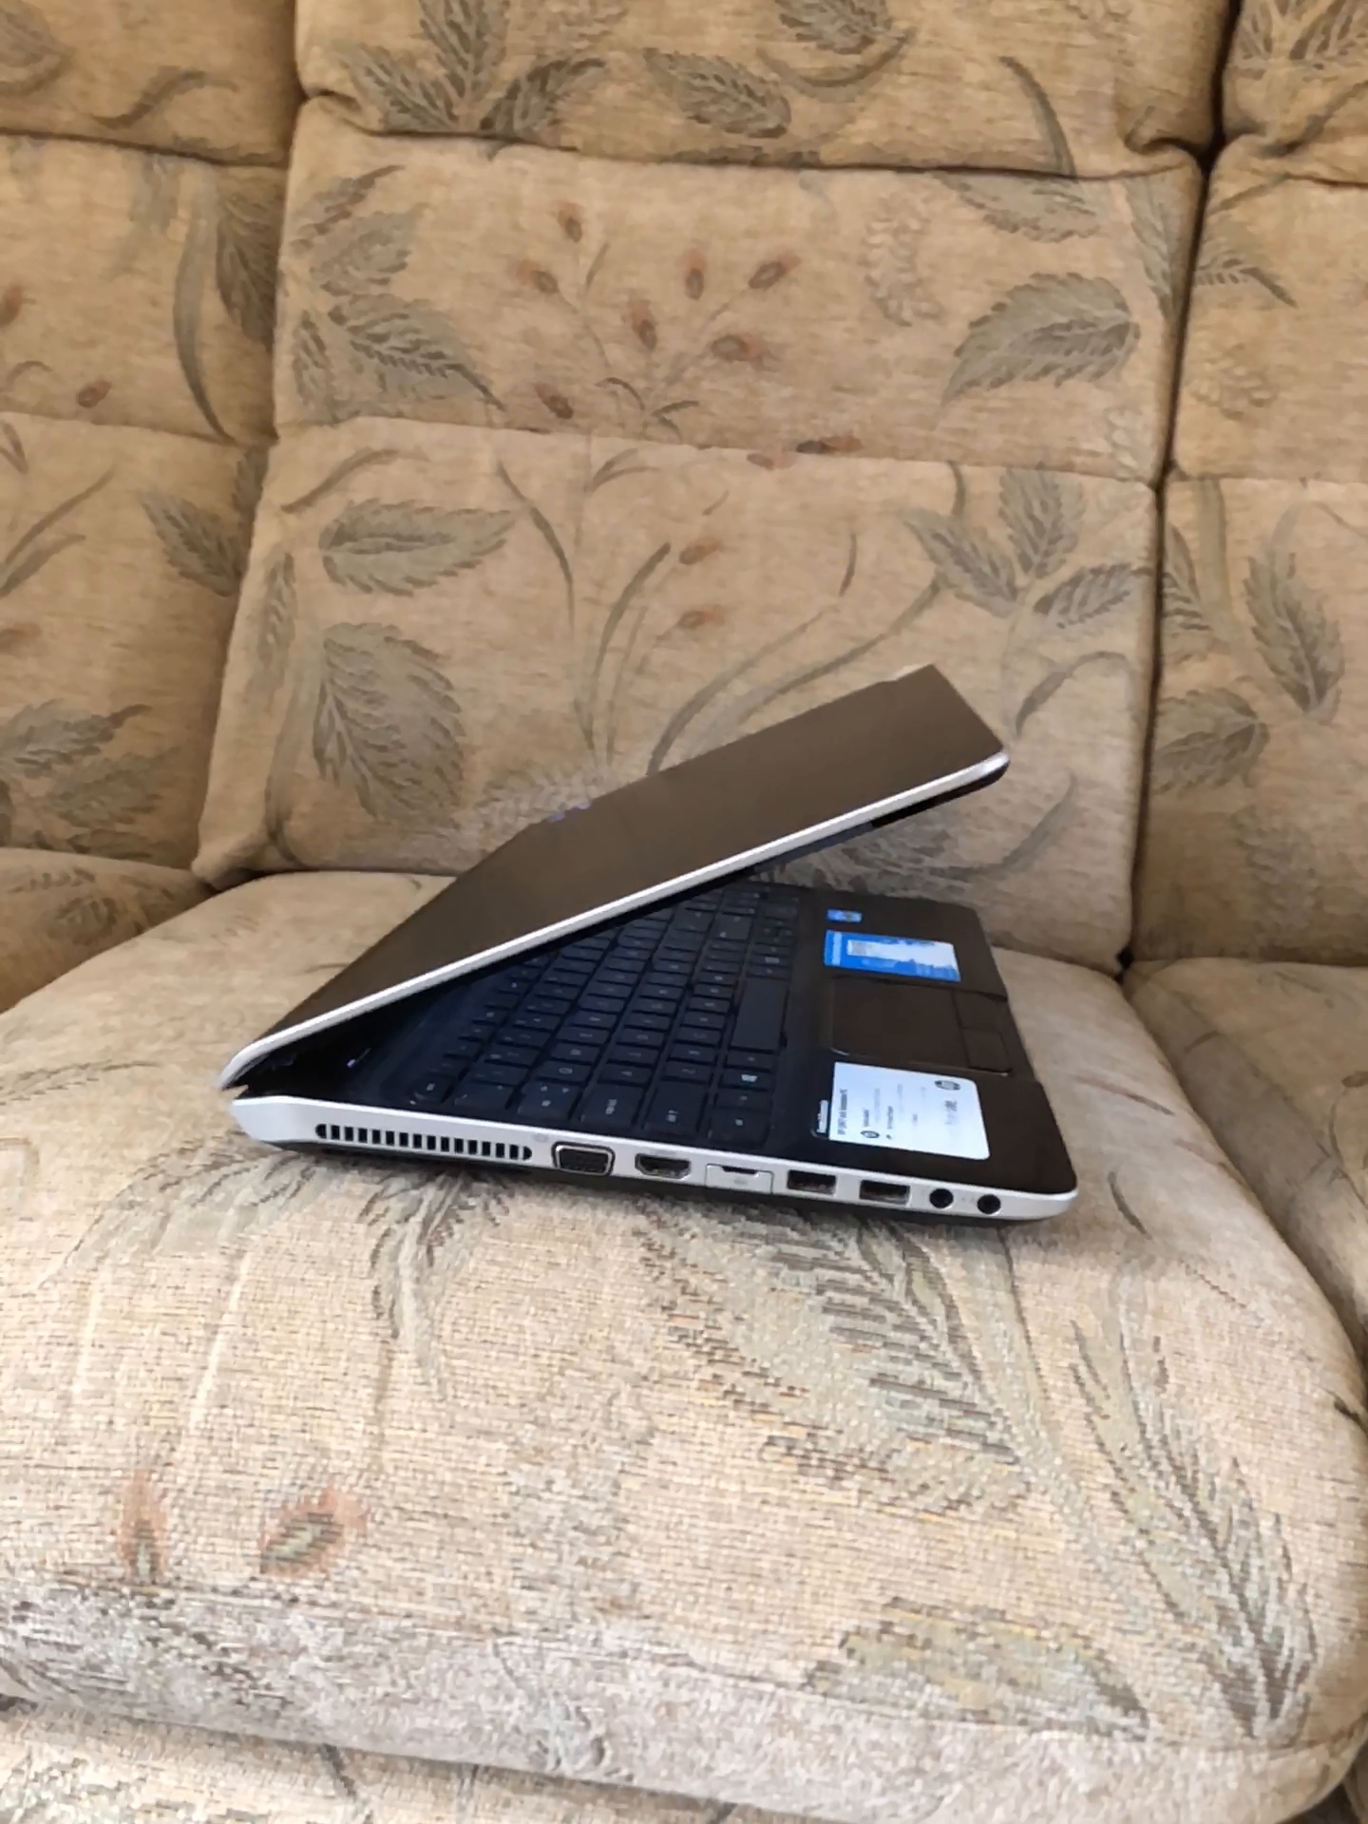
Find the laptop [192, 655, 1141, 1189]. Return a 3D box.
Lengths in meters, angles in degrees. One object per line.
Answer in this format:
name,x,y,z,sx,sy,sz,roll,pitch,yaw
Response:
laptop,0.012,-0.027,0.616,0.253,0.113,0.398,5,14,4
